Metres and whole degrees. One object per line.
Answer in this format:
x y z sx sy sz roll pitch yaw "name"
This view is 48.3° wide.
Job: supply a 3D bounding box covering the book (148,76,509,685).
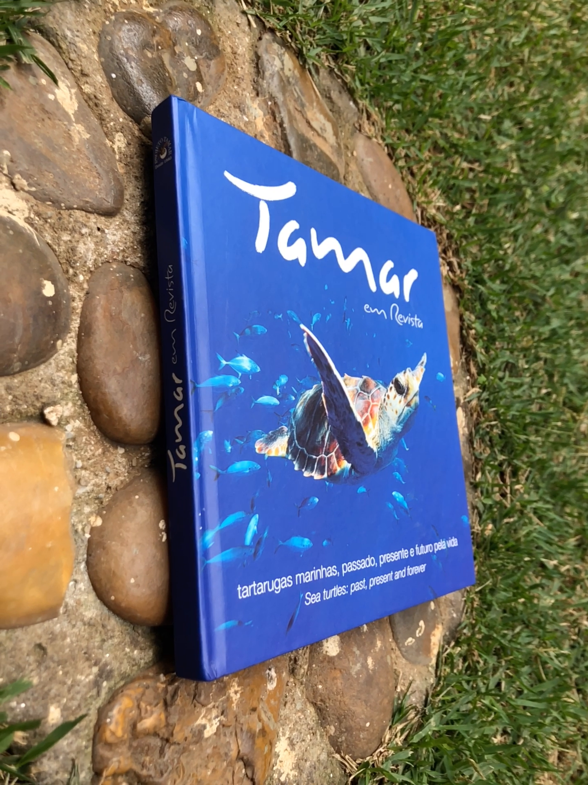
0.027 -0.001 0.251 0.180 0.020 0.166 6 76 -49 "book"
